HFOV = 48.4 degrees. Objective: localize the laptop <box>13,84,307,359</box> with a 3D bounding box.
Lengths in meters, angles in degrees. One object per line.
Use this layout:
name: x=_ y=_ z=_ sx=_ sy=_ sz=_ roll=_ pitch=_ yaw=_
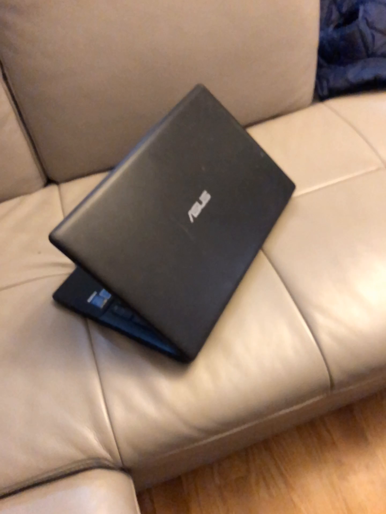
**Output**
laptop: x=-0.021 y=-0.079 z=0.649 sx=0.242 sy=0.155 sz=0.371 roll=21 pitch=56 yaw=23
